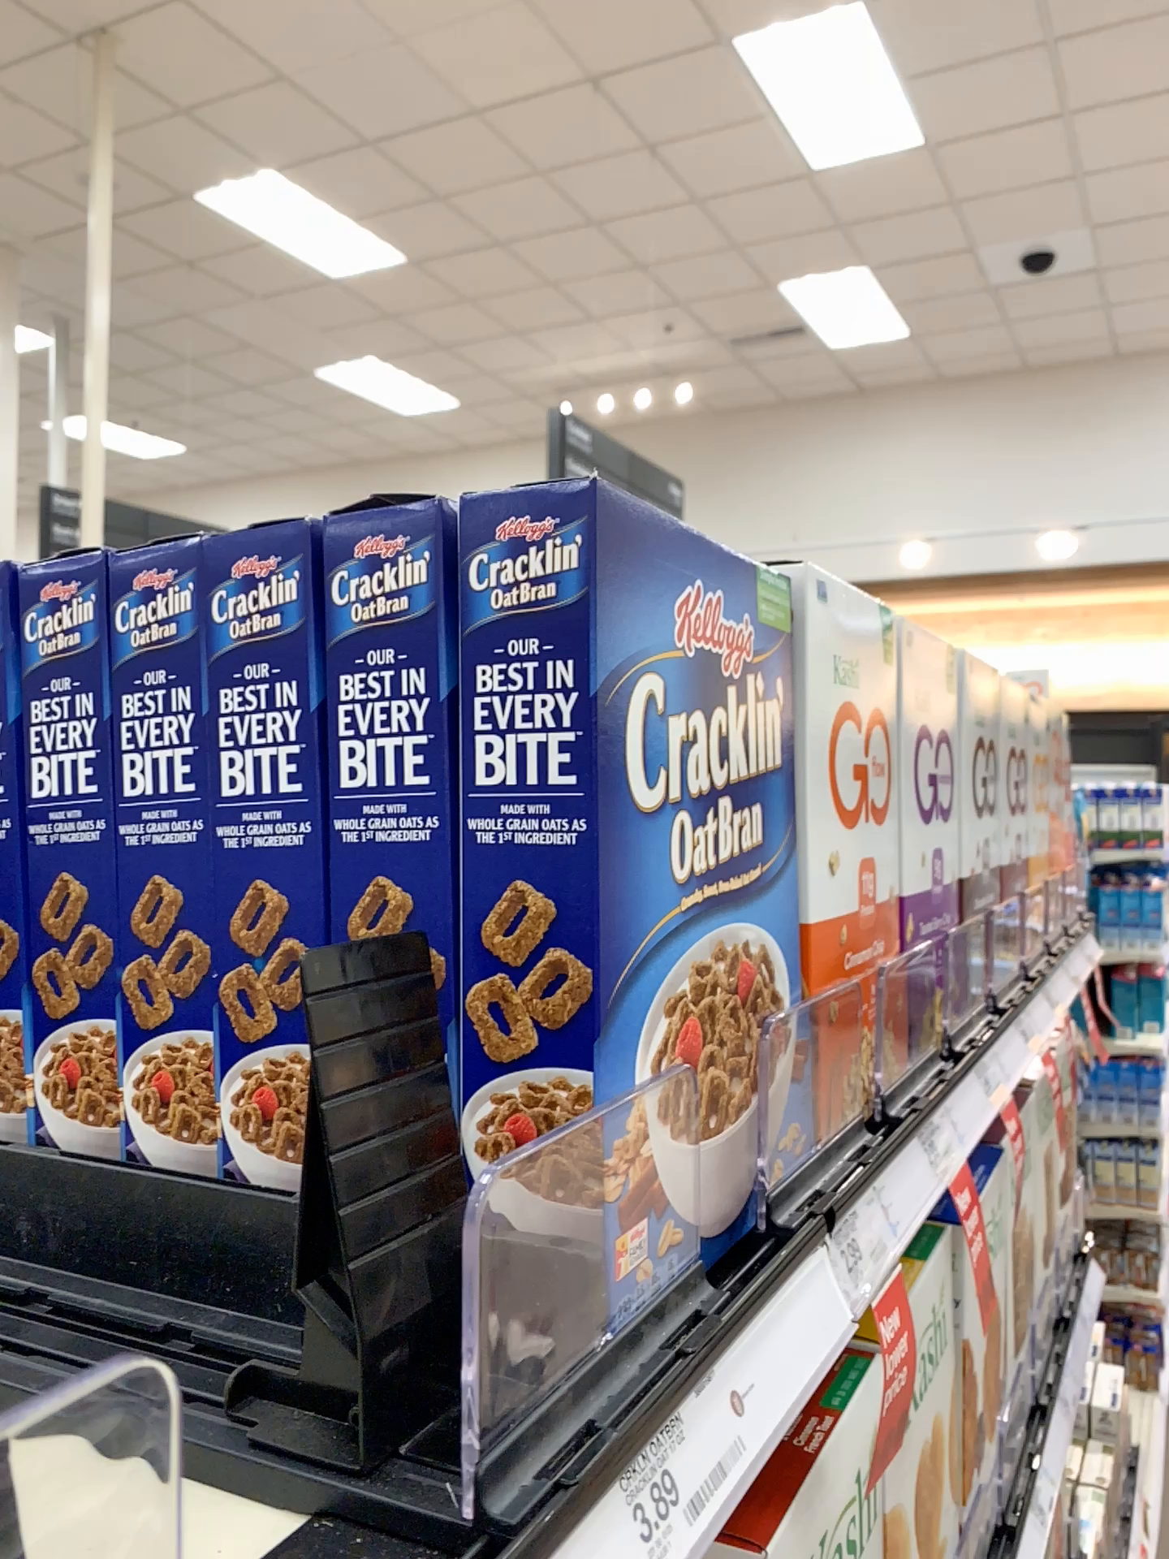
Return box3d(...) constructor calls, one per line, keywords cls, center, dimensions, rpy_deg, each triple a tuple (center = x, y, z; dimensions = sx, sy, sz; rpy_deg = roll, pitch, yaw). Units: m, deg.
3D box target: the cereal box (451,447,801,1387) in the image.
box3d(cls="cereal box", center=(0.025, 0.035, 0.407), dimensions=(0.050, 0.240, 0.190), rpy_deg=(-1, -1, 23))
